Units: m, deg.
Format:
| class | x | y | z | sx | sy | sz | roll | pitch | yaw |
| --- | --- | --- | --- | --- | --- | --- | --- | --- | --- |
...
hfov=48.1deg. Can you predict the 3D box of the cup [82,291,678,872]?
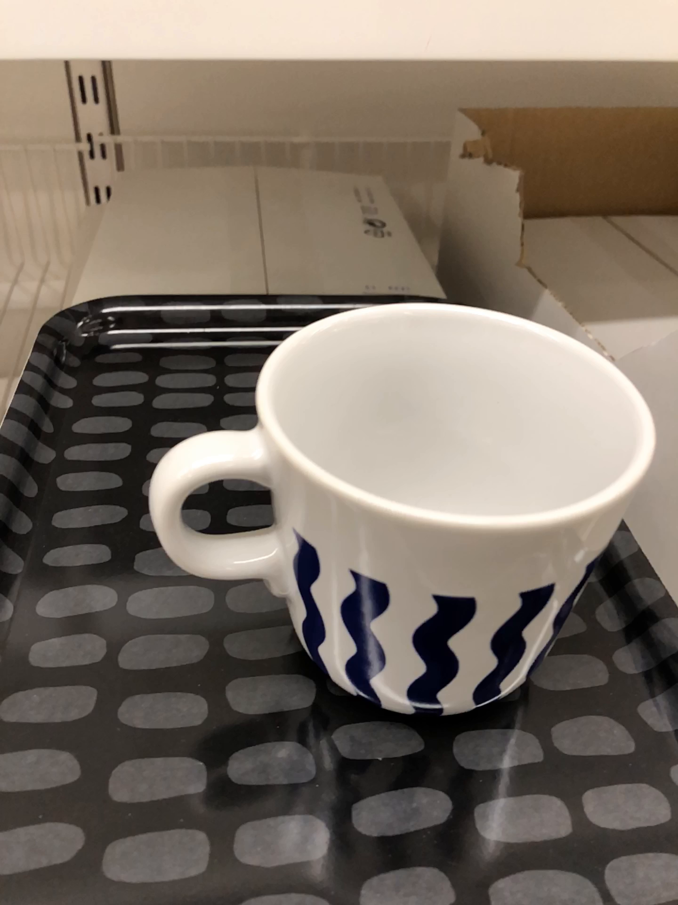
| class | x | y | z | sx | sy | sz | roll | pitch | yaw |
| --- | --- | --- | --- | --- | --- | --- | --- | --- | --- |
| cup | 0.008 | 0.021 | 0.182 | 0.120 | 0.080 | 0.090 | -7 | 35 | -13 |
